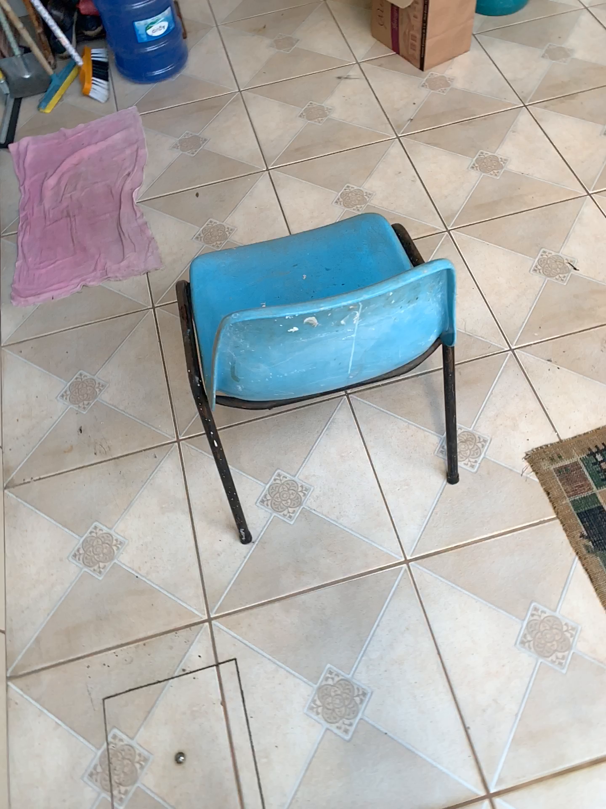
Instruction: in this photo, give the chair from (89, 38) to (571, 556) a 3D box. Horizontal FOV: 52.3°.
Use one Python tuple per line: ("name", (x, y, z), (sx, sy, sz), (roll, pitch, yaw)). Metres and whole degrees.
("chair", (0.016, -0.146, 1.164), (0.550, 0.688, 0.532), (-15, 59, -5))
